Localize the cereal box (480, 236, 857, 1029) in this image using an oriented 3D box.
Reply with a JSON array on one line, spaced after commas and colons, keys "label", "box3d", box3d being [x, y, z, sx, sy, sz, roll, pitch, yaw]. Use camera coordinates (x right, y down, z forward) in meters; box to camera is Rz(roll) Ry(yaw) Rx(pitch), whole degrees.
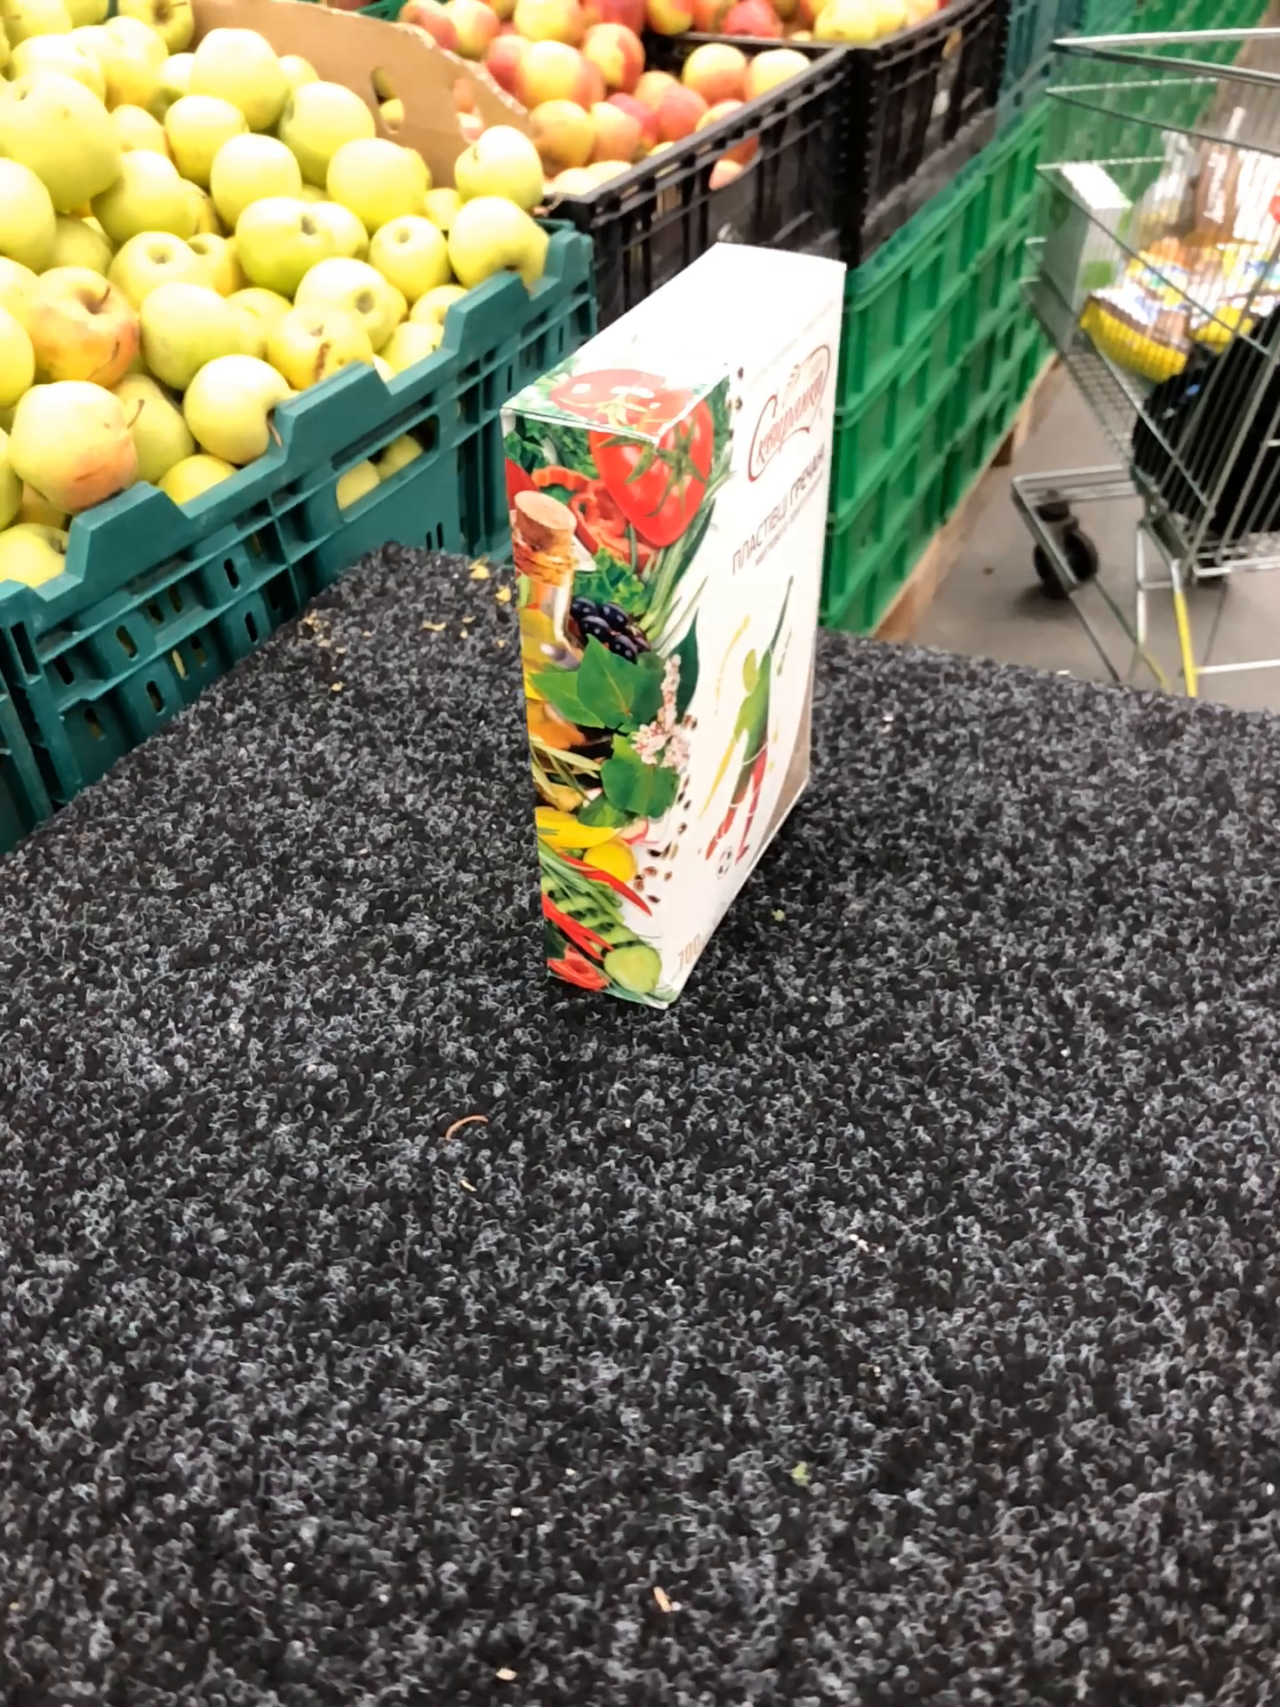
[{"label": "cereal box", "box3d": [0.017, -0.080, 0.527, 0.060, 0.238, 0.161, 16, 43, 20]}]
